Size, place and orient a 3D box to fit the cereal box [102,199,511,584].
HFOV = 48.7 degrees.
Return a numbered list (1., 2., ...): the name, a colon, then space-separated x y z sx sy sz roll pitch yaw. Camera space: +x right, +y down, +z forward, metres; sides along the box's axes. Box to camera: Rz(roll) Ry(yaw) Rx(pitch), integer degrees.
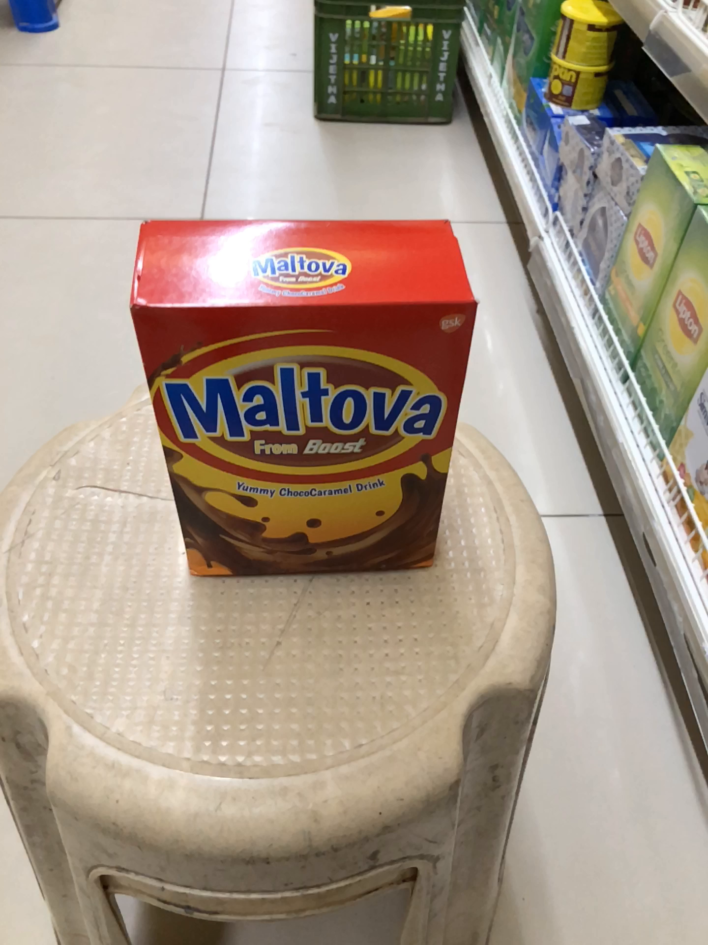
1. cereal box: -0.022 -0.030 0.376 0.150 0.179 0.070 -1 47 -5
